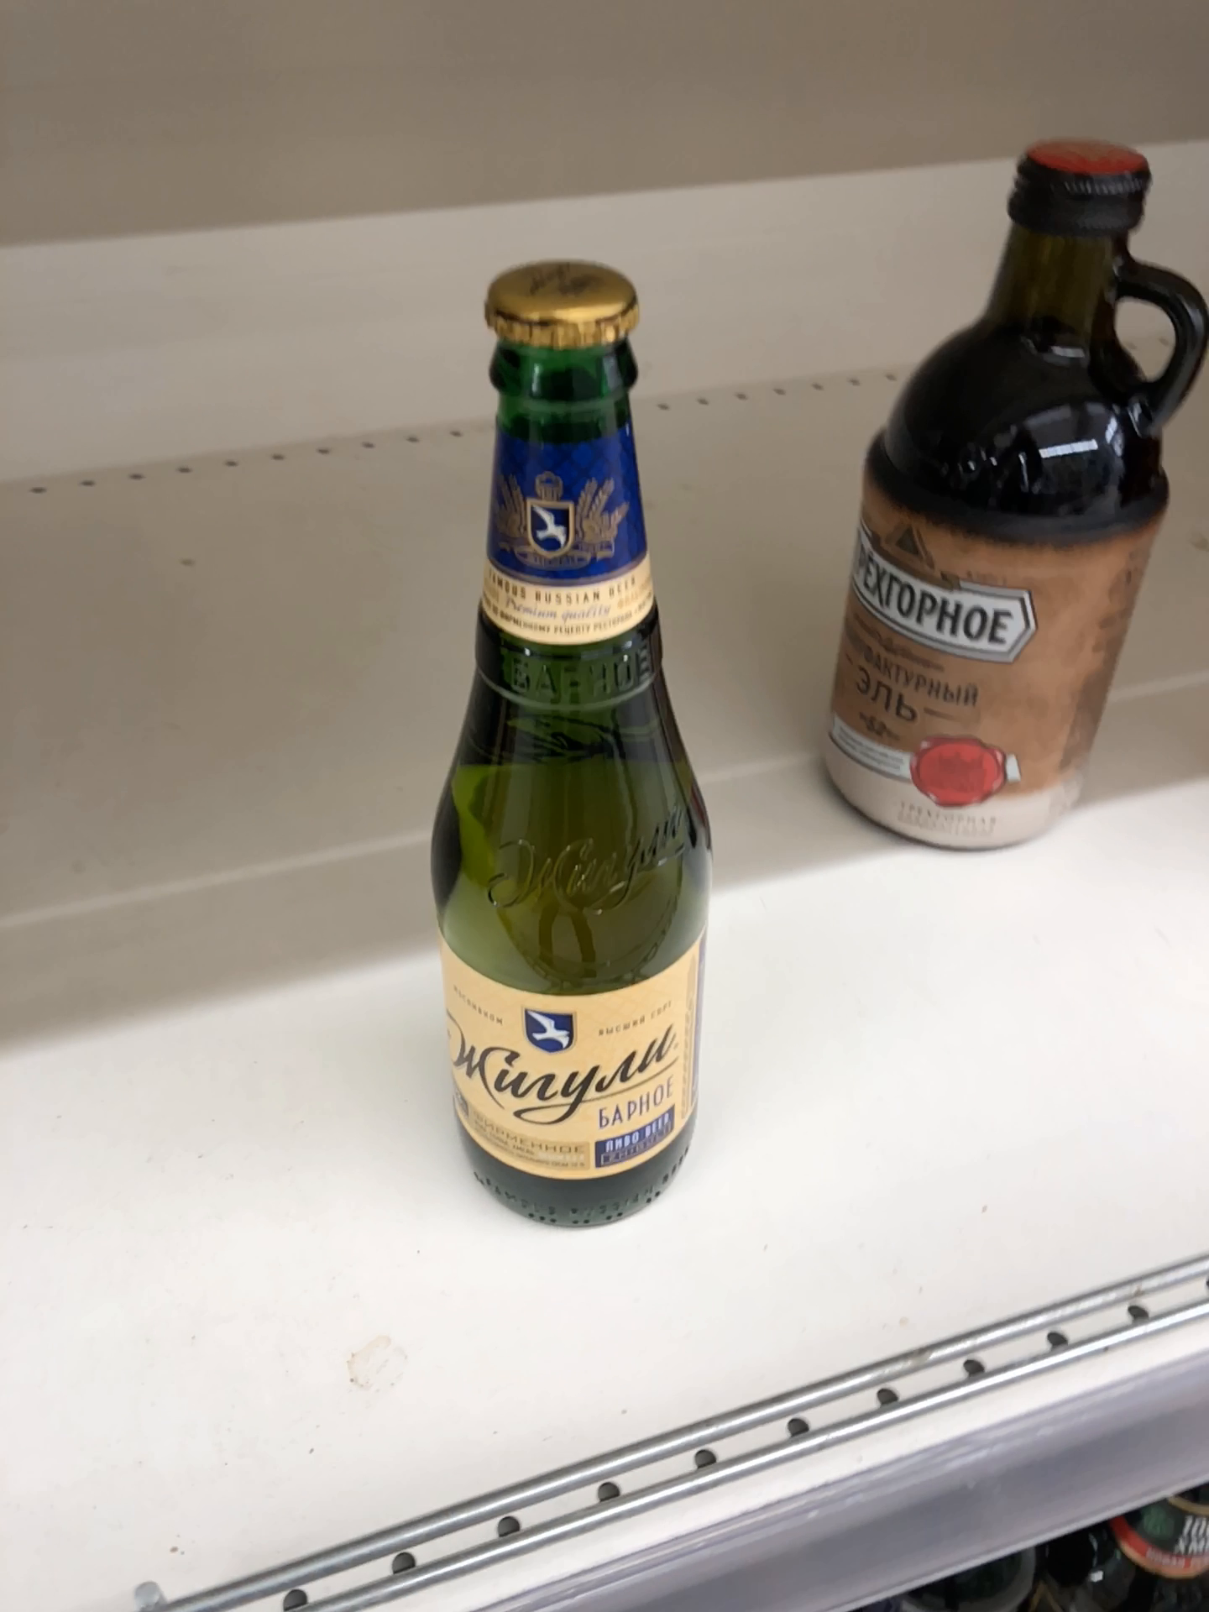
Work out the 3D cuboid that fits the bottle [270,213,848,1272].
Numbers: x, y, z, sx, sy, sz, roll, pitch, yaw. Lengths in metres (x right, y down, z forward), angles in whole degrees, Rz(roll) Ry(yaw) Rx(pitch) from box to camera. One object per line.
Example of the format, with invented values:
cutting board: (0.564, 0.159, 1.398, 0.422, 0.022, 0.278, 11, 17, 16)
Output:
bottle: (-0.005, 0.003, 0.318, 0.090, 0.249, 0.080, 4, 40, 3)
